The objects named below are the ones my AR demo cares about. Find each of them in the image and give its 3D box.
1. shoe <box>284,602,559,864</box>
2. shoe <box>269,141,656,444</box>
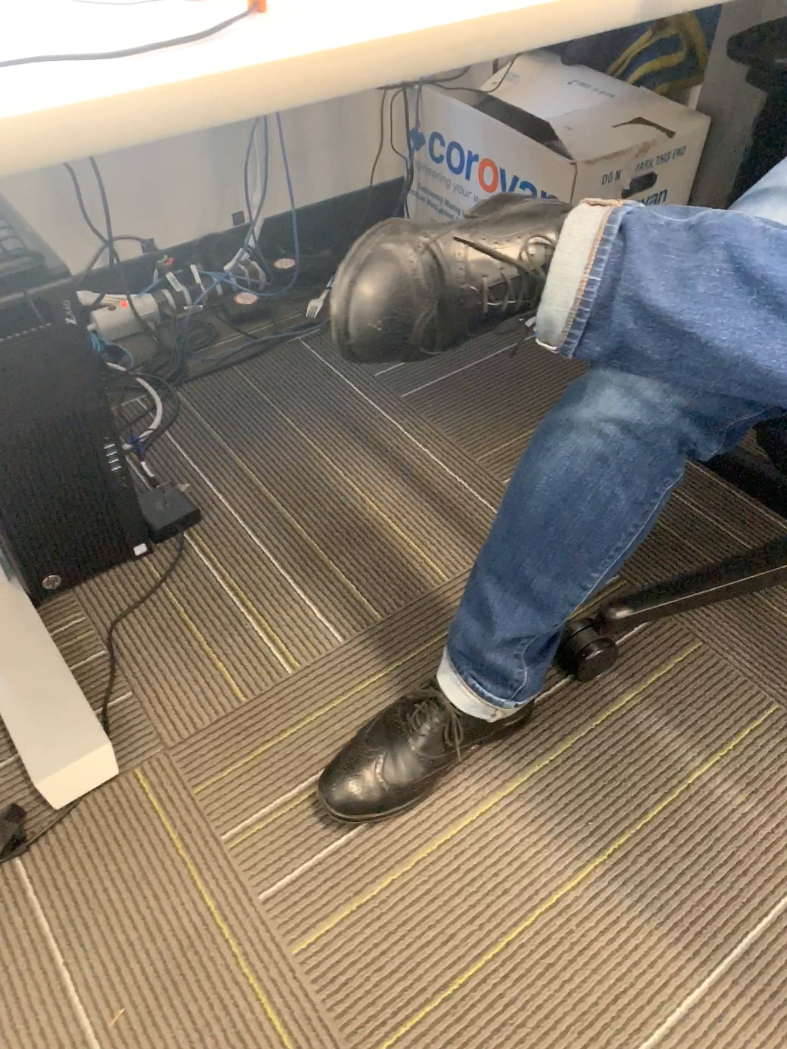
[{"bbox_3d":[0.033,0.217,0.869,0.274,0.104,0.112,-29,54,-25],"label":"shoe"},{"bbox_3d":[0.056,-0.180,0.595,0.274,0.111,0.091,-29,50,-25],"label":"shoe"}]
